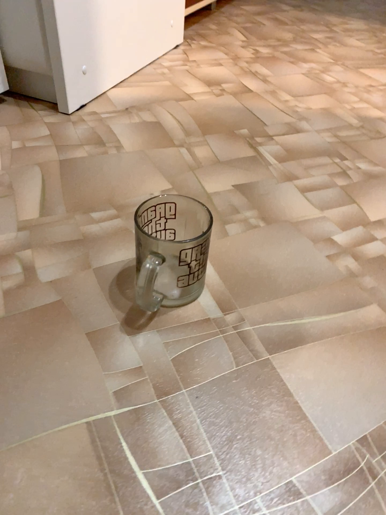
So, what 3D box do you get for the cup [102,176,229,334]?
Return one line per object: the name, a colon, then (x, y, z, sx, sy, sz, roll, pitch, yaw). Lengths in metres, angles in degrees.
cup: (-0.024, -0.004, 0.389, 0.081, 0.097, 0.098, 18, 45, 13)
